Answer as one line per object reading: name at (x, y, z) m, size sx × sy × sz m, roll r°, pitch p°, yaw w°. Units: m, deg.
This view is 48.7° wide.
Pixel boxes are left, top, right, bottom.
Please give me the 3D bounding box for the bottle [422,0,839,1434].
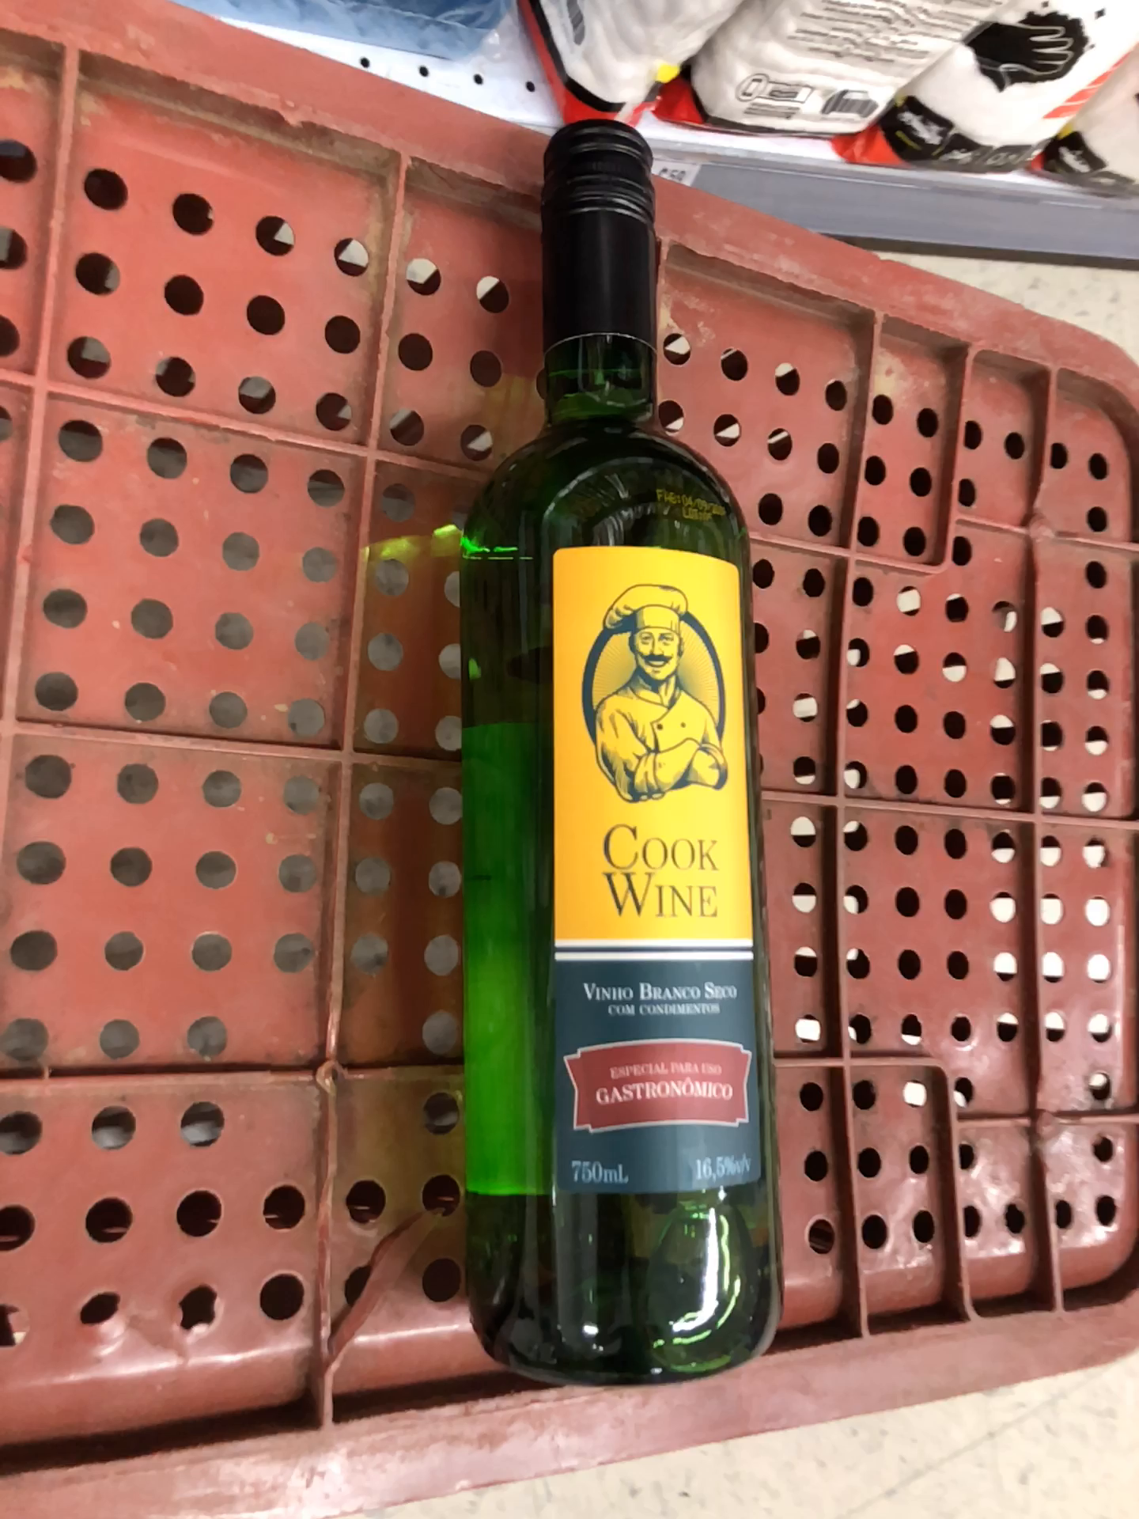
bottle at (0.012, -0.022, 0.306) m, size 0.080 × 0.060 × 0.320 m, roll 2°, pitch 84°, yaw -17°
